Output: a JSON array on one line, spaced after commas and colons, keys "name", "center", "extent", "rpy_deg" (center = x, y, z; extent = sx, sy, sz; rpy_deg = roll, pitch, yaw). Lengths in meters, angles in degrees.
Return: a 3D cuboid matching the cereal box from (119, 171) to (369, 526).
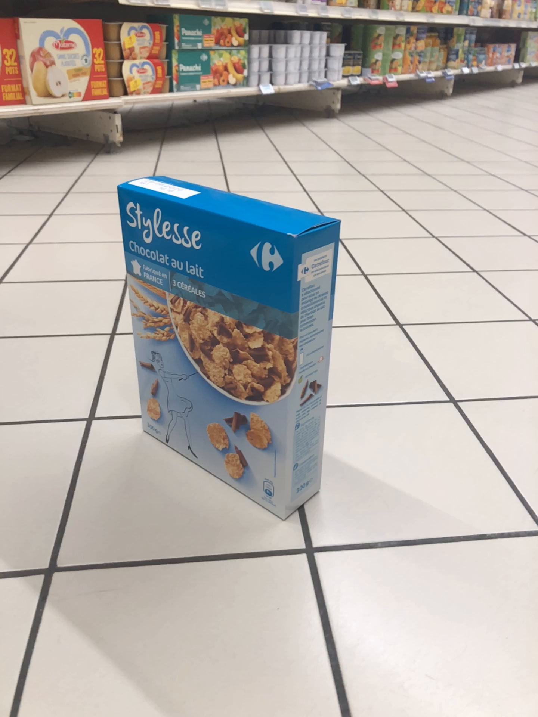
[{"name": "cereal box", "center": [-0.029, -0.016, 0.515], "extent": [0.200, 0.249, 0.070], "rpy_deg": [24, 35, 35]}]
